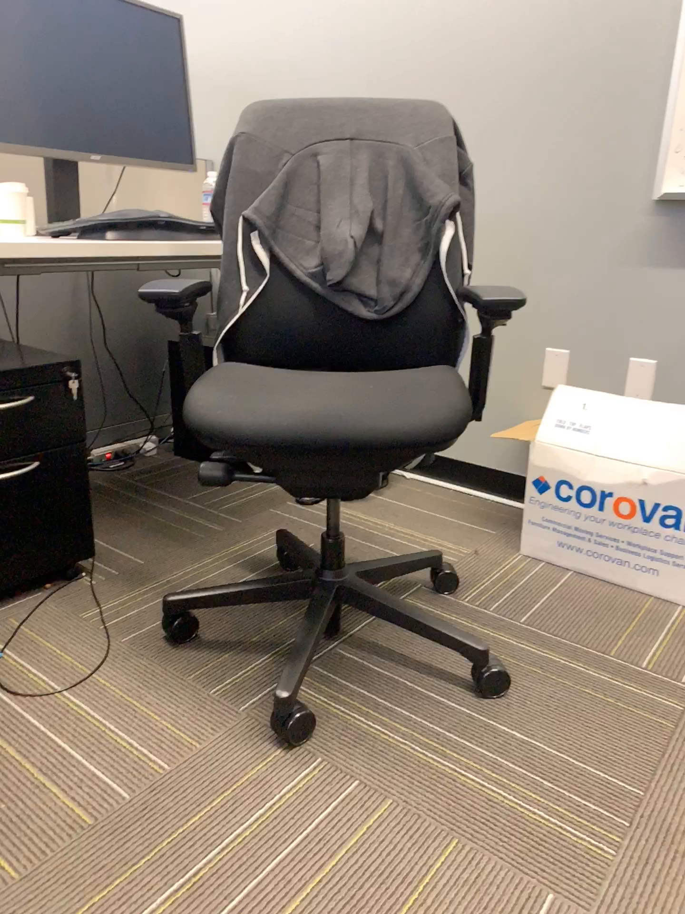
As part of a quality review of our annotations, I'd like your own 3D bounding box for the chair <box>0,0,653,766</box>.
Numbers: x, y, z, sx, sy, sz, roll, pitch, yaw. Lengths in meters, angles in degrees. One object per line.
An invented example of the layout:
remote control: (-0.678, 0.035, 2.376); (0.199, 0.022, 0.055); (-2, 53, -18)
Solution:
chair: (-0.023, -0.189, 1.366); (0.750, 1.075, 0.884); (3, 18, 3)
